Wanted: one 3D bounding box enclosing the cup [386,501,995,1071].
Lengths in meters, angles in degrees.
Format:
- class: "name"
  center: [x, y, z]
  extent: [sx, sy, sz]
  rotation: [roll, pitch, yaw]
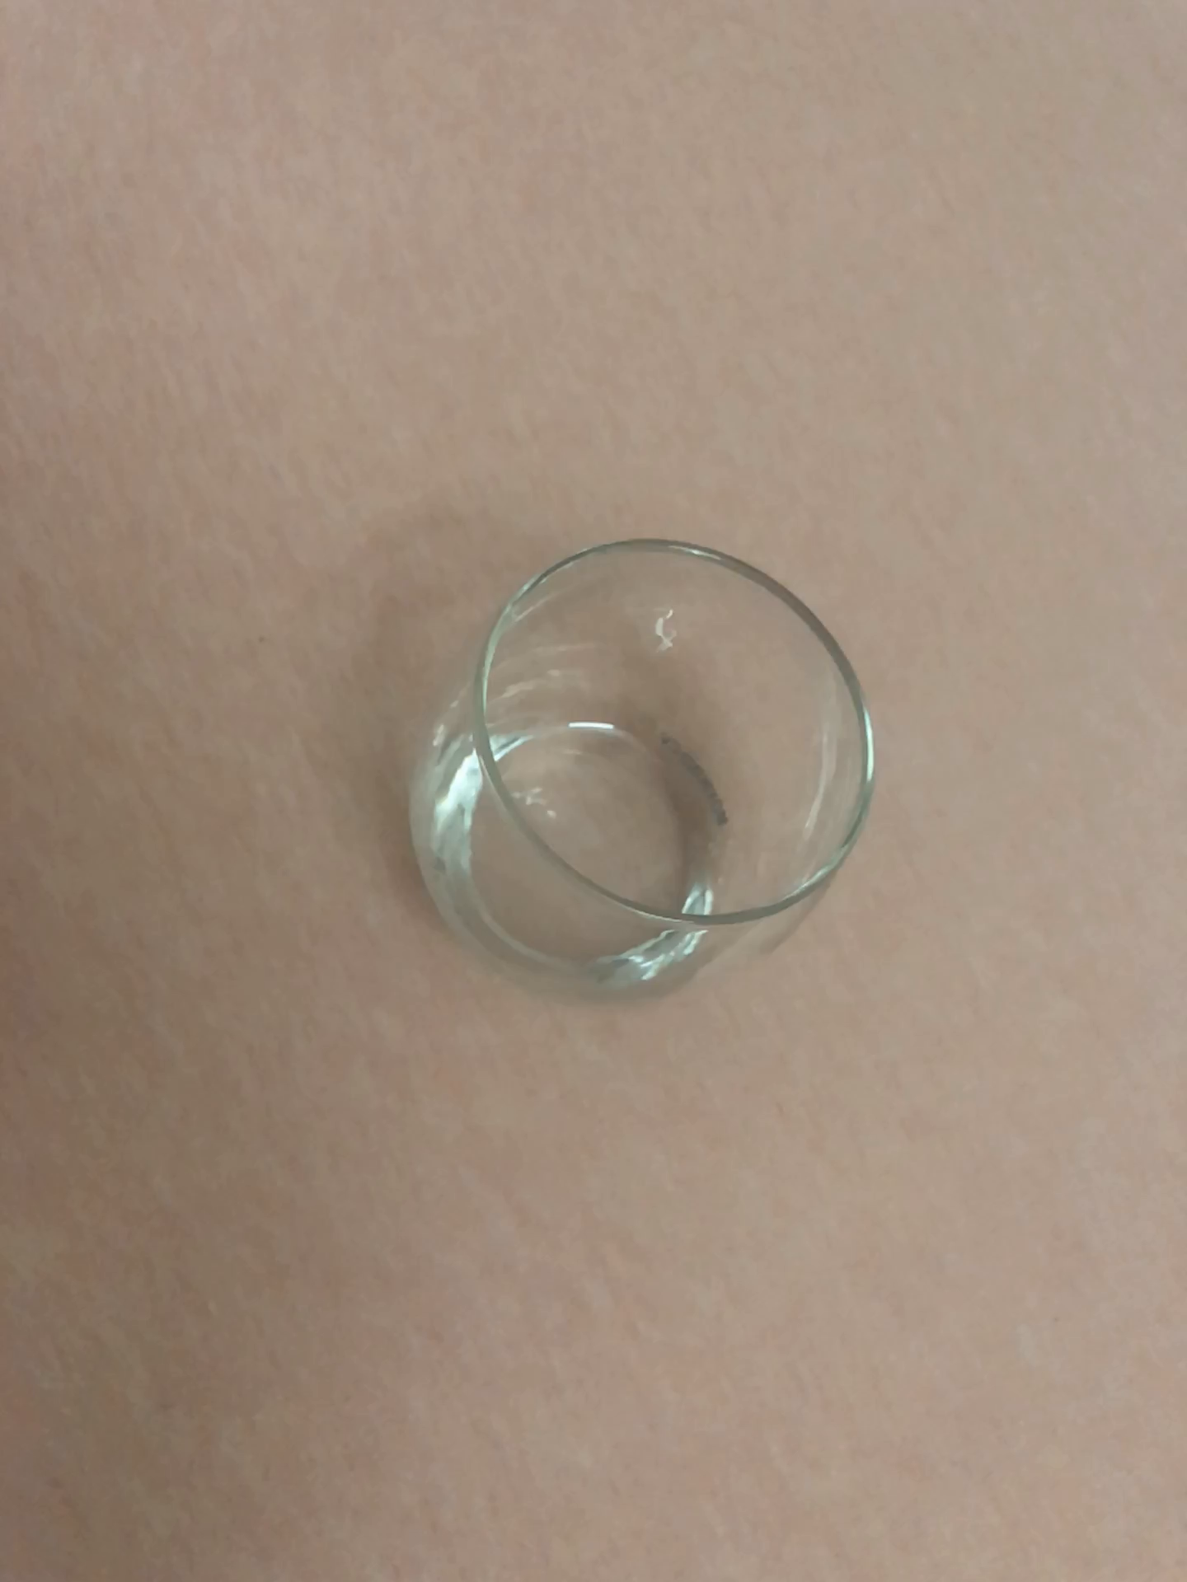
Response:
- class: "cup"
  center: [0.012, 0.002, 0.304]
  extent: [0.090, 0.100, 0.090]
  rotation: [6, 67, -15]
